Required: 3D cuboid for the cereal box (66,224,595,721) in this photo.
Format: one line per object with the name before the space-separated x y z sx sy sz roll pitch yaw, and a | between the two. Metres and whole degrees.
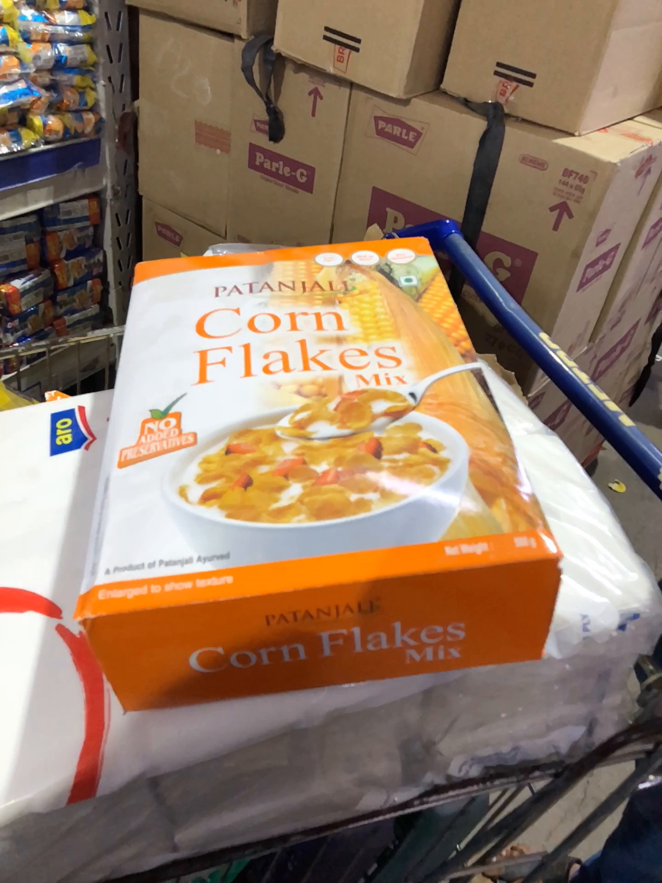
cereal box | -0.014 -0.009 0.397 0.200 0.079 0.272 -5 45 -5
